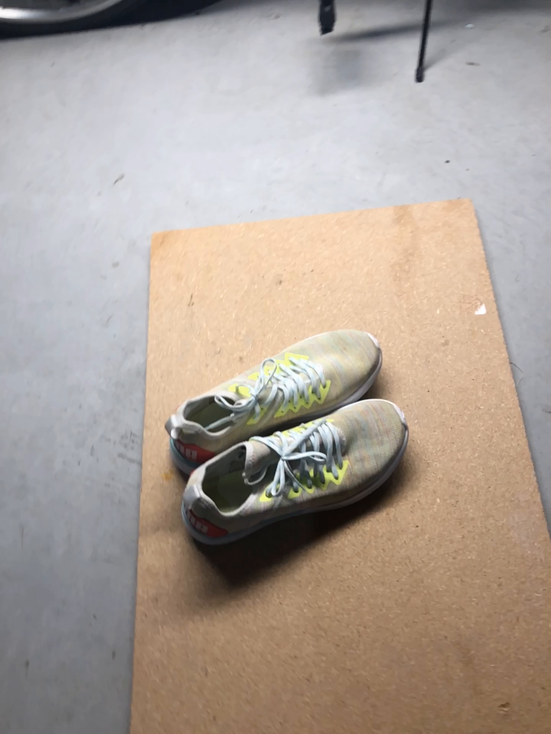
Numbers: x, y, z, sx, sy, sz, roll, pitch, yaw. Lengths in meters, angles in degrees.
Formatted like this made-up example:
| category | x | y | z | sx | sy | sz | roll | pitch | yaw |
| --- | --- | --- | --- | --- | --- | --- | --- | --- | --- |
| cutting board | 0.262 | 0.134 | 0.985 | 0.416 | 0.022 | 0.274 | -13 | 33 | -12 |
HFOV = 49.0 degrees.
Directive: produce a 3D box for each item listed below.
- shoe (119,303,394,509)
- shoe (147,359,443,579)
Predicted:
| category | x | y | z | sx | sy | sz | roll | pitch | yaw |
| --- | --- | --- | --- | --- | --- | --- | --- | --- | --- |
| shoe | -0.019 | 0.045 | 0.742 | 0.300 | 0.100 | 0.110 | -23 | 58 | -12 |
| shoe | 0.024 | 0.113 | 0.682 | 0.300 | 0.100 | 0.100 | -23 | 58 | -12 |
